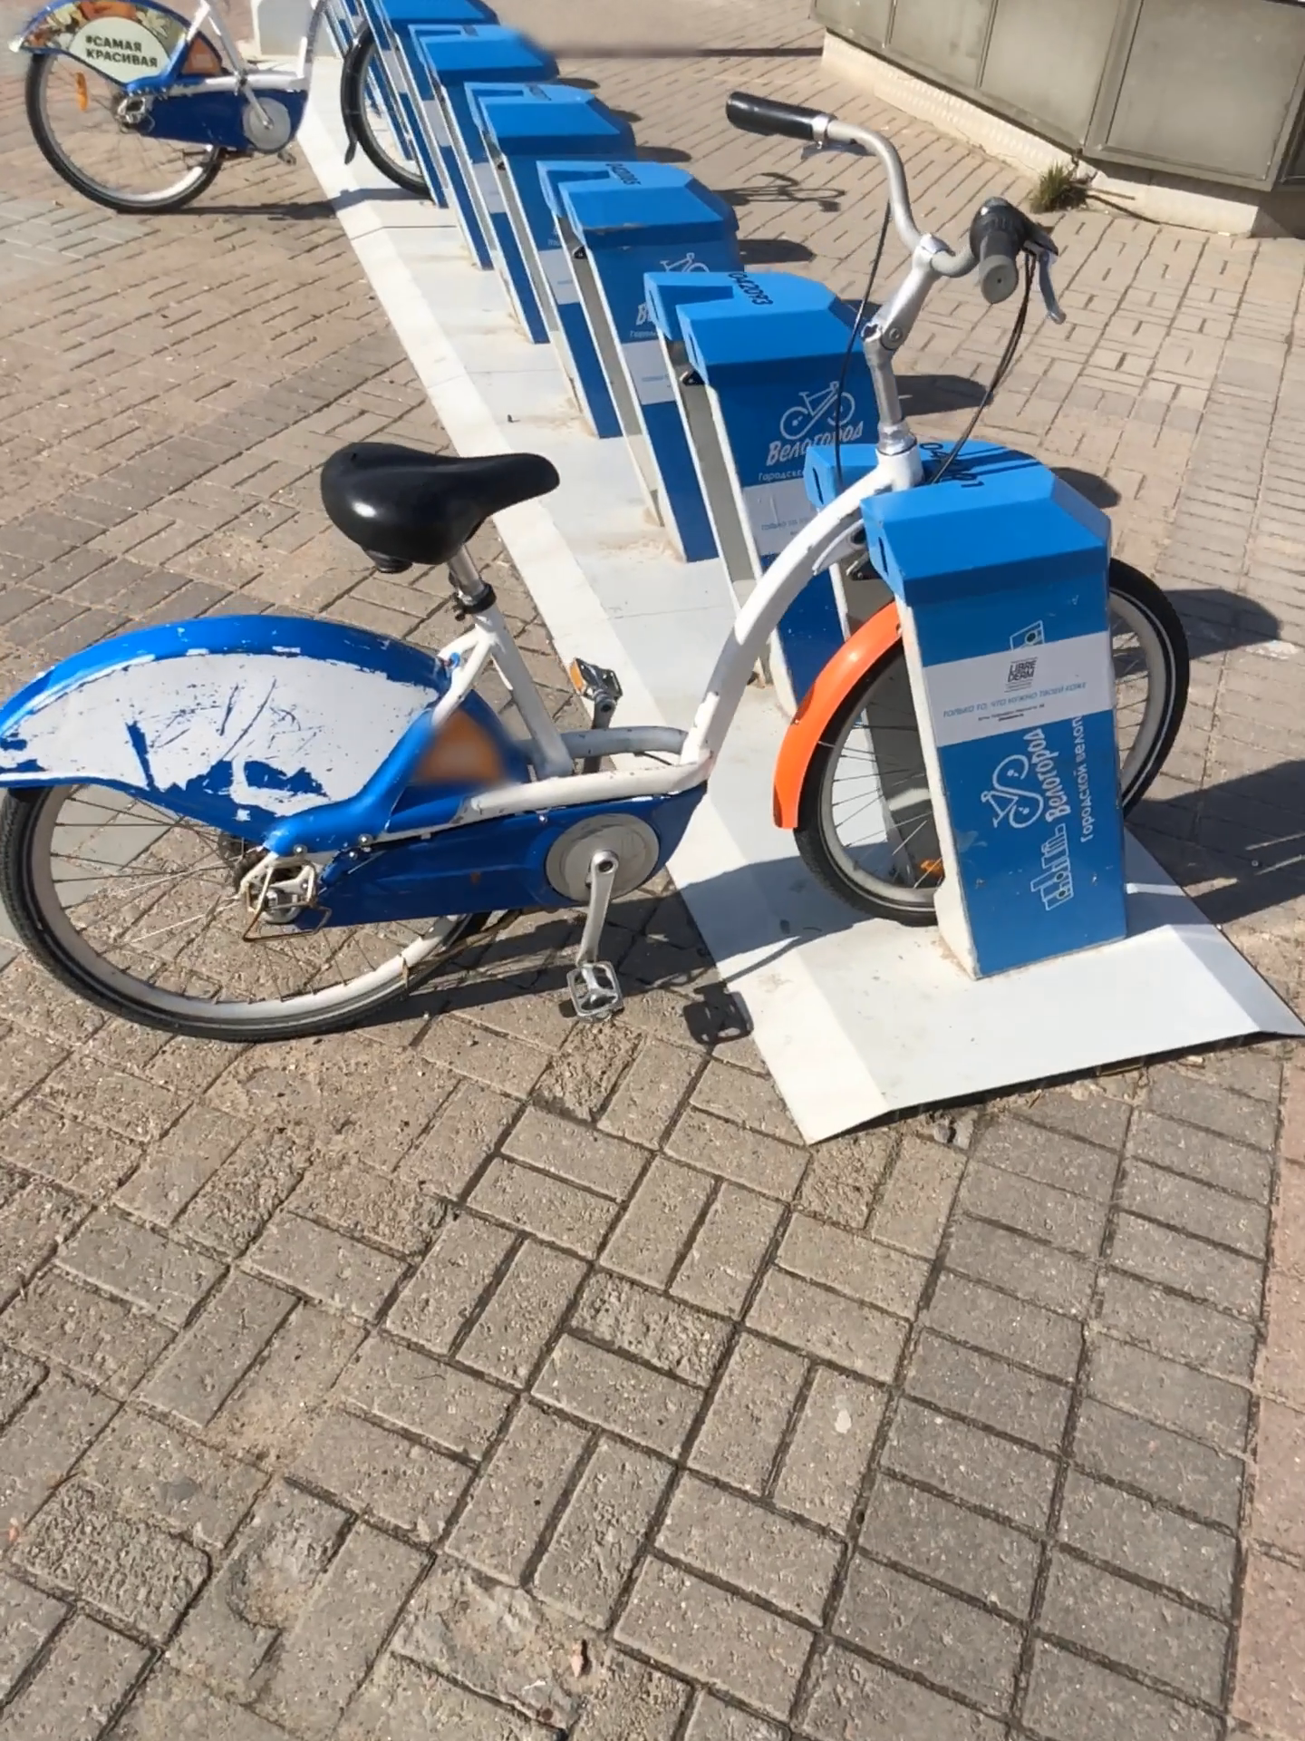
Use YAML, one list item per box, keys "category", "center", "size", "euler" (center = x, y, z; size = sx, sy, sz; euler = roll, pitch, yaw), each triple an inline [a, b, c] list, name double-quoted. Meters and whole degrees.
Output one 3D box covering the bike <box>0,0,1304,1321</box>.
- category: "bike"
  center: [0.046, -0.308, 1.778]
  size: [1.675, 1.233, 0.685]
  euler: [-10, 41, -14]
